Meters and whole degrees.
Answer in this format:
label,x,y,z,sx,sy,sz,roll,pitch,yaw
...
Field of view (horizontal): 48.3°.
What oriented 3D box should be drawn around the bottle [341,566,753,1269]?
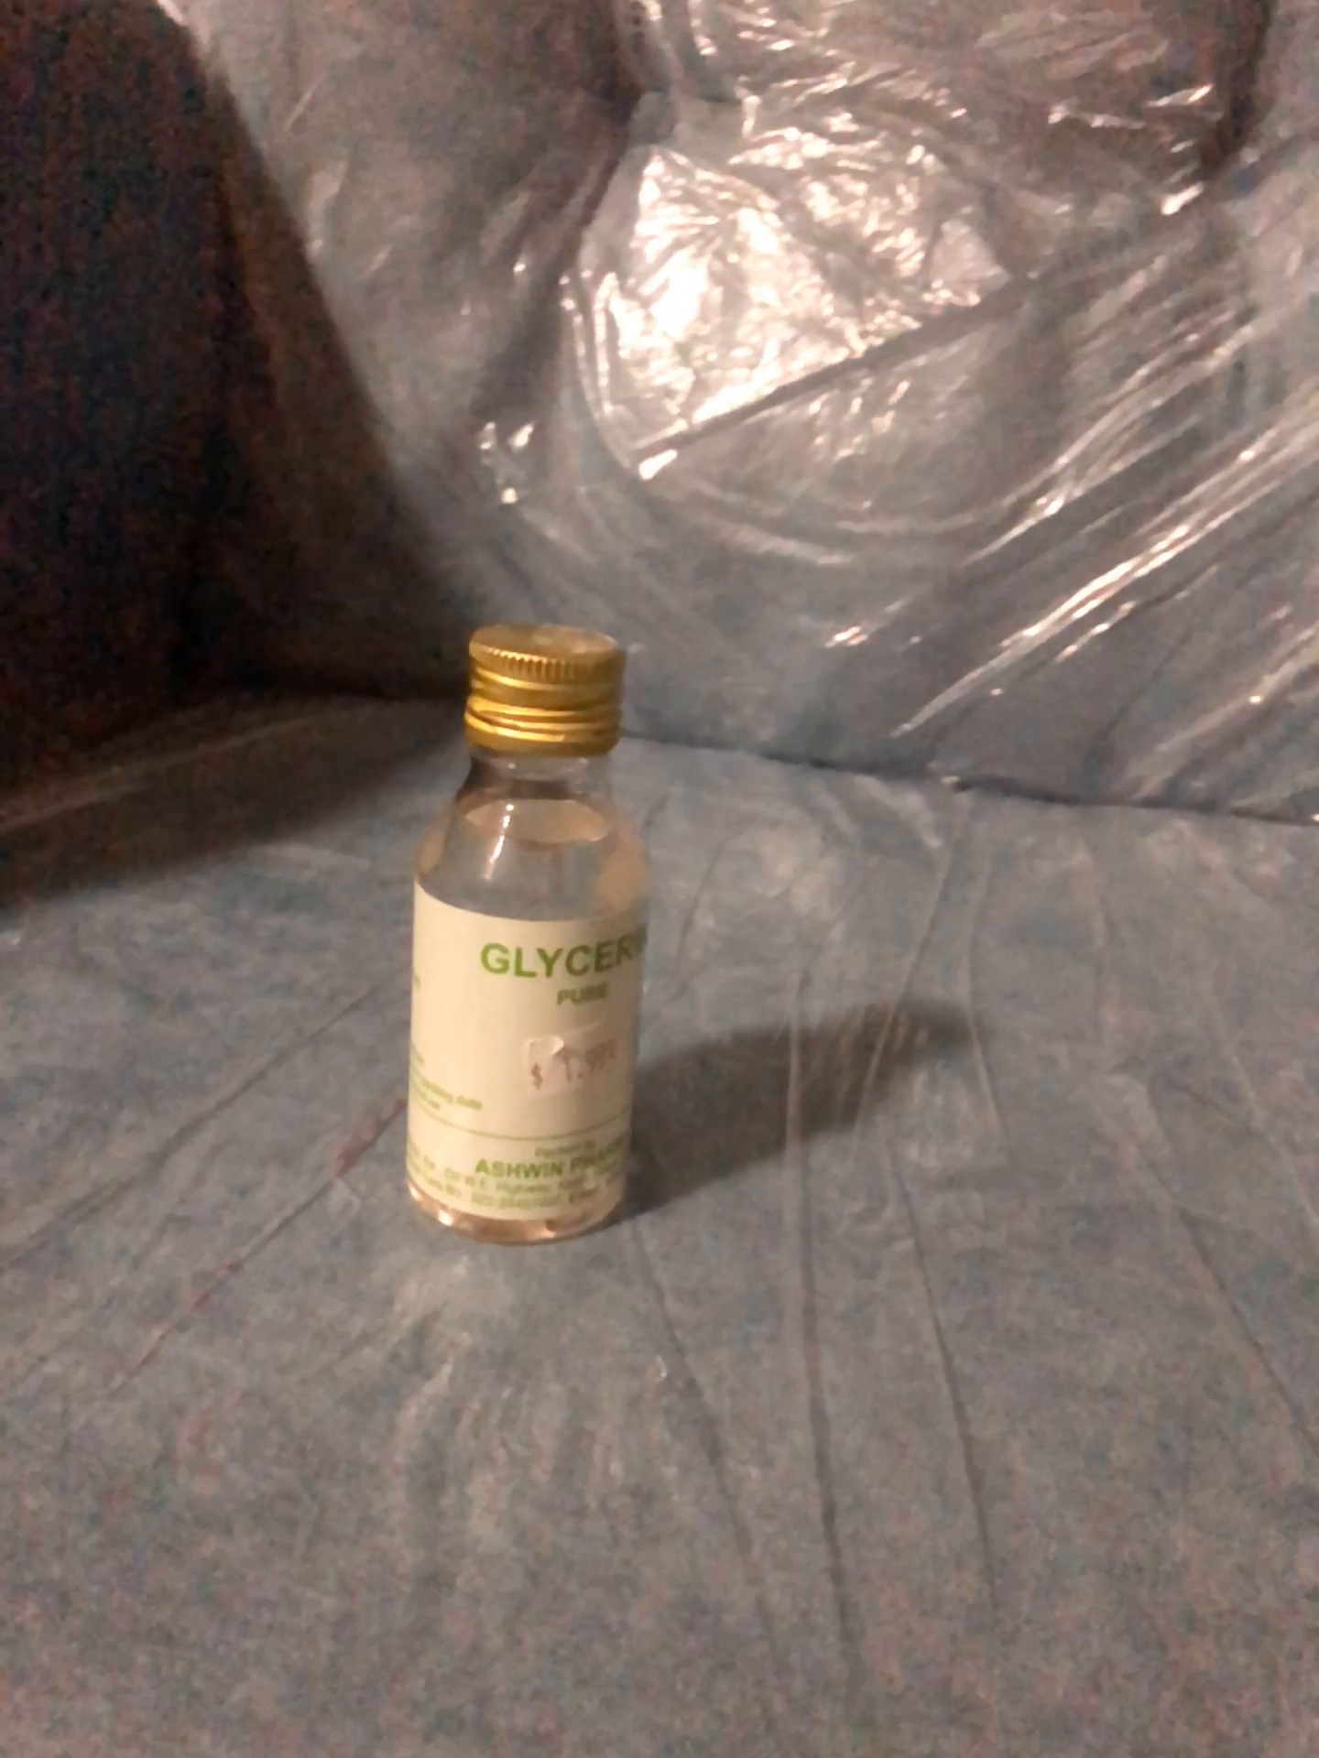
label,x,y,z,sx,sy,sz,roll,pitch,yaw
bottle,-0.022,0.004,0.243,0.050,0.100,0.050,3,23,-1
